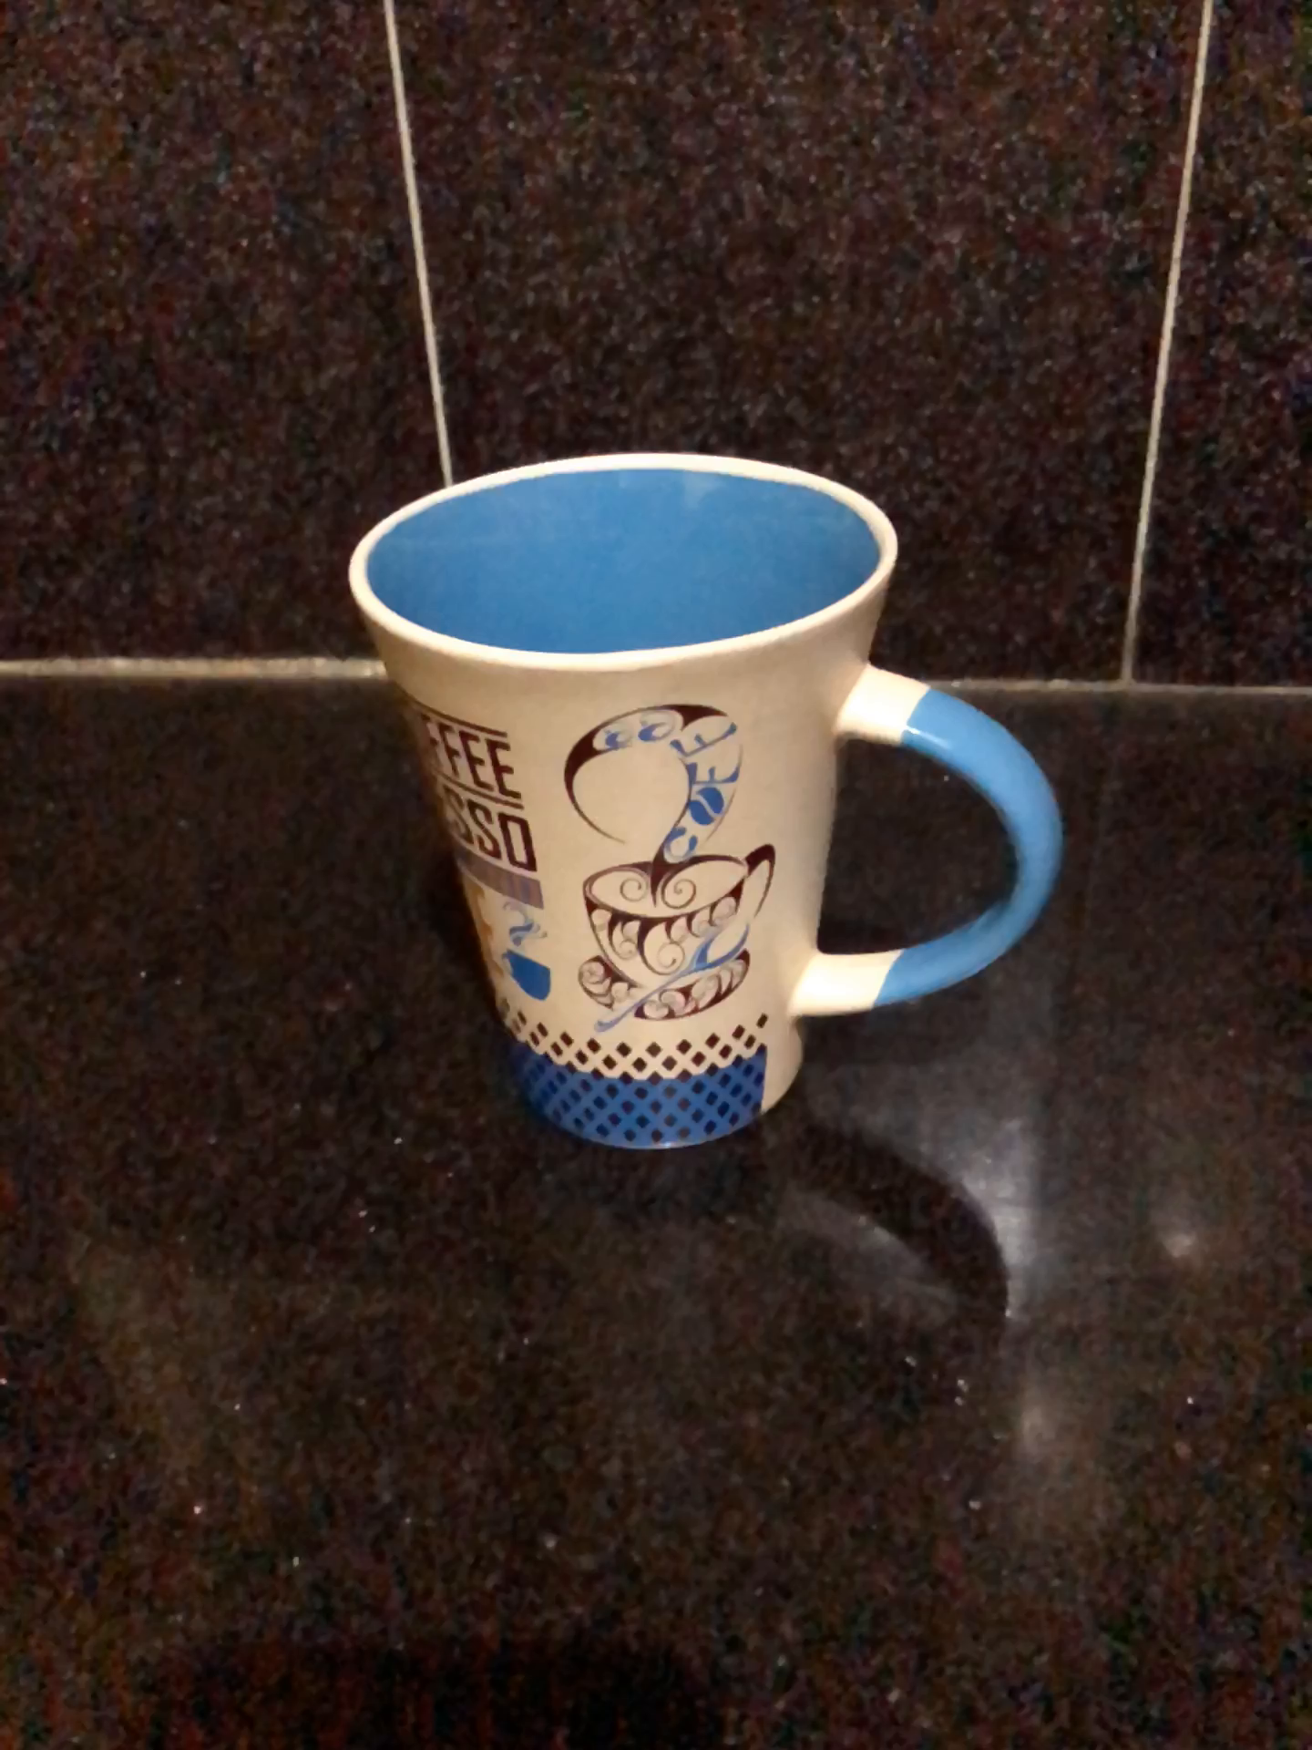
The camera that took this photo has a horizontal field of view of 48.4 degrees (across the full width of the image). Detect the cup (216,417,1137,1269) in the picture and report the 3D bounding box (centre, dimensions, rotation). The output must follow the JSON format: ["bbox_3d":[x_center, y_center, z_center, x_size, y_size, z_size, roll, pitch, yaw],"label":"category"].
[{"bbox_3d":[0.011,-0.013,0.270,0.130,0.109,0.091,9,35,17],"label":"cup"}]
